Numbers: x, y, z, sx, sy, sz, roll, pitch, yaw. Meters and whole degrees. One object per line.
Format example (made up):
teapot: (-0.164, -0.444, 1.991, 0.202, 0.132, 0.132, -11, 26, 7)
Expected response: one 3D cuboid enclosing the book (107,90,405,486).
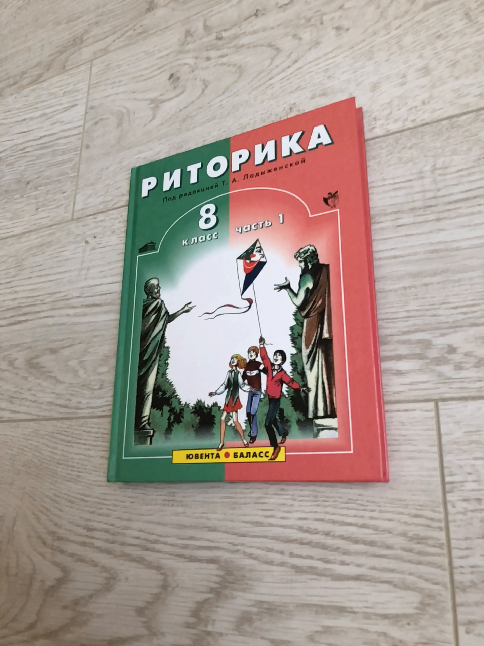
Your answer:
book: (0.000, -0.017, 0.325, 0.171, 0.020, 0.223, -9, 70, 26)
